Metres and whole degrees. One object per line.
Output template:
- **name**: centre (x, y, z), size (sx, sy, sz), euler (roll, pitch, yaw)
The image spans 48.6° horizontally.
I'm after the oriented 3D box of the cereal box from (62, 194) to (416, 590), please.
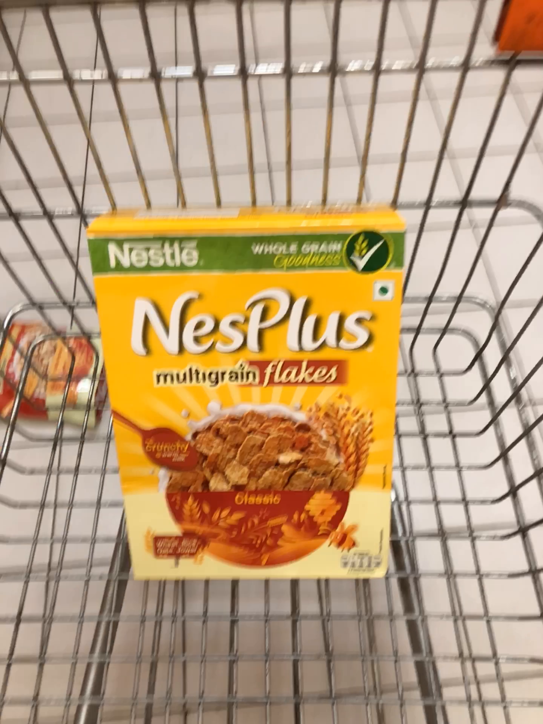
- **cereal box**: centre (-0.015, 0.021, 0.408), size (0.190, 0.249, 0.090), euler (-1, 20, 1)
